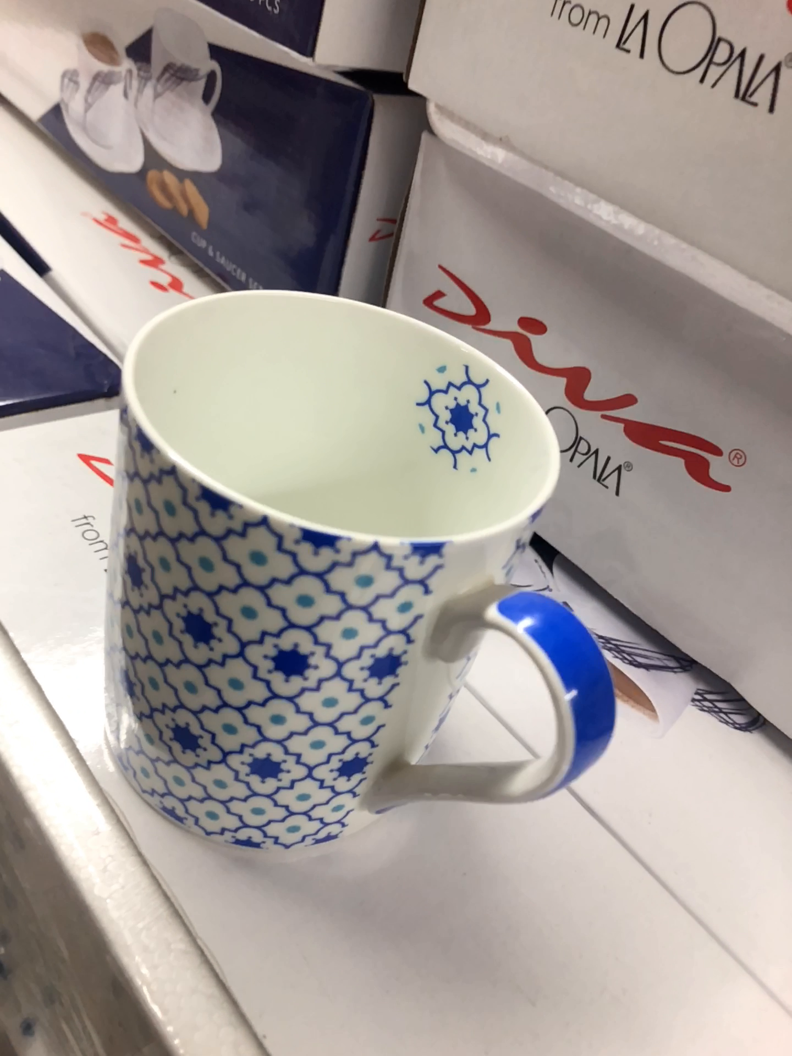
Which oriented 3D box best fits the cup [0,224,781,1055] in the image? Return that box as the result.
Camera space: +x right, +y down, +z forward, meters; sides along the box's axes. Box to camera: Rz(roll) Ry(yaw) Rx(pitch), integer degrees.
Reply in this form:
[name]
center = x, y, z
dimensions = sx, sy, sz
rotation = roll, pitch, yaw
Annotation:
[cup]
center = -0.016, 0.014, 0.145
dimensions = 0.070, 0.079, 0.100
rotation = -24, 53, -39
